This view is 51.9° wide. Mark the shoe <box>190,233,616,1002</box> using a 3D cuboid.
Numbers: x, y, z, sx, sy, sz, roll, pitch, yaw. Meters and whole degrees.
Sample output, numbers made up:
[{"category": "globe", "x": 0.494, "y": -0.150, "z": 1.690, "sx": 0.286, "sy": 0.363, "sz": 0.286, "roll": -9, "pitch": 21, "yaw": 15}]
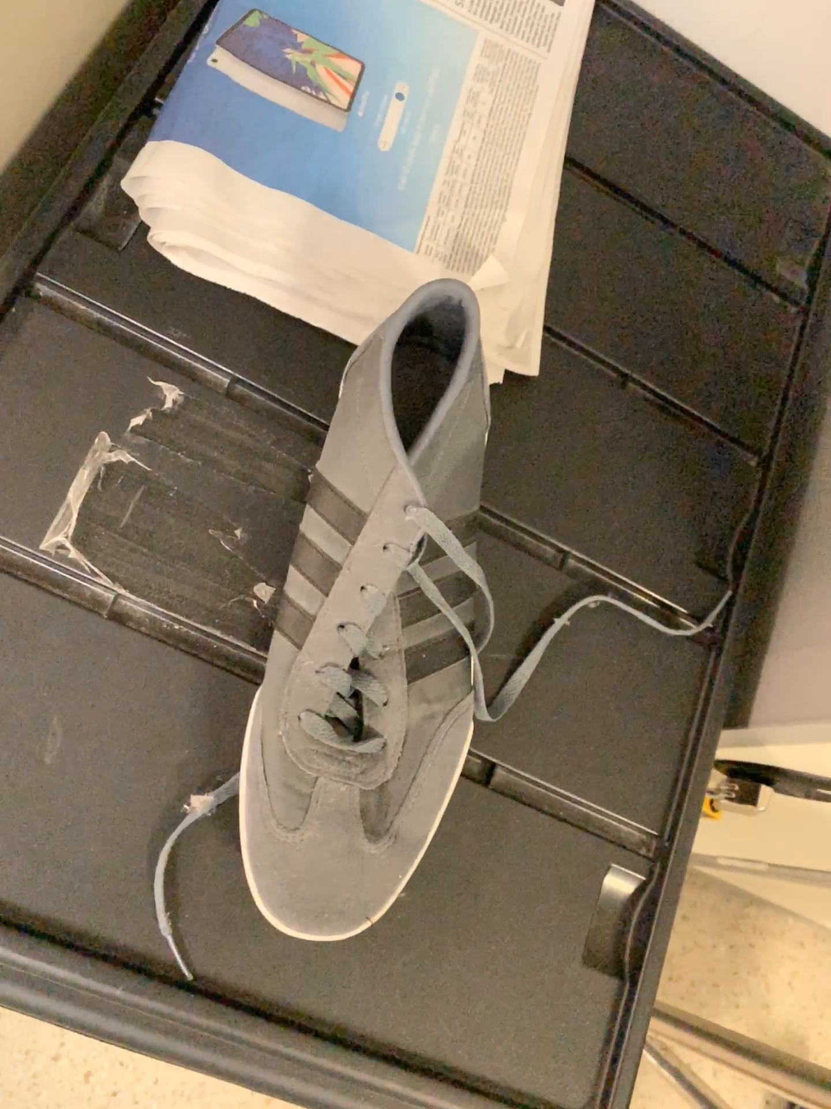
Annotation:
[{"category": "shoe", "x": 0.000, "y": 0.021, "z": 0.350, "sx": 0.113, "sy": 0.077, "sz": 0.268, "roll": 15, "pitch": 71, "yaw": -16}]
